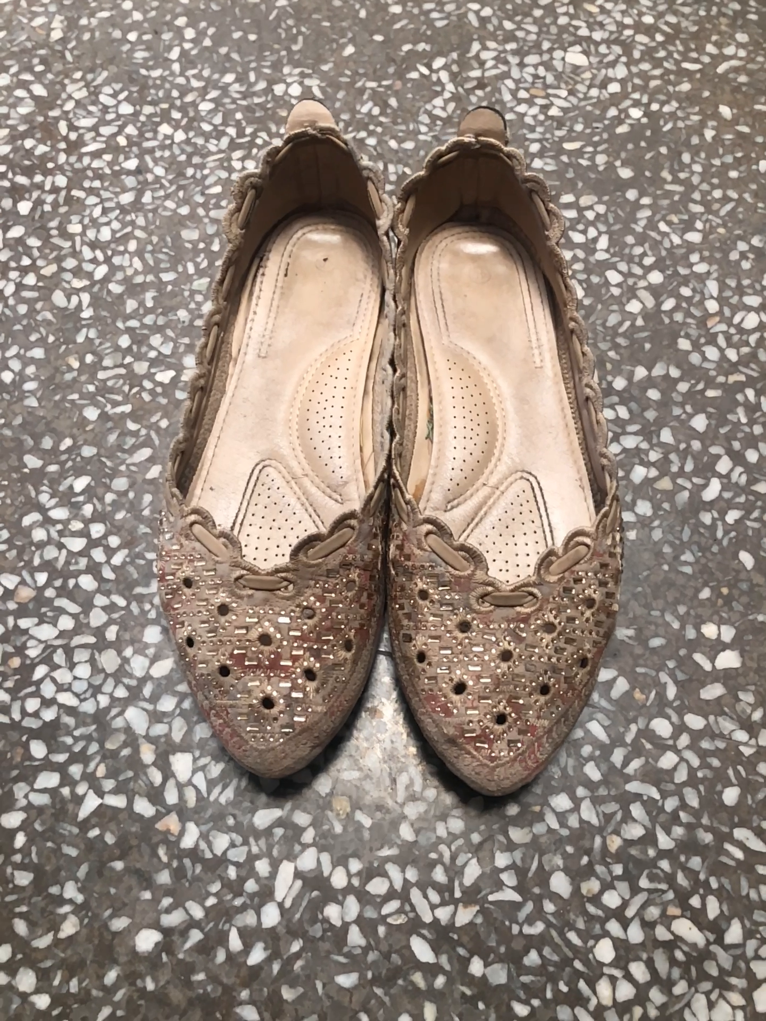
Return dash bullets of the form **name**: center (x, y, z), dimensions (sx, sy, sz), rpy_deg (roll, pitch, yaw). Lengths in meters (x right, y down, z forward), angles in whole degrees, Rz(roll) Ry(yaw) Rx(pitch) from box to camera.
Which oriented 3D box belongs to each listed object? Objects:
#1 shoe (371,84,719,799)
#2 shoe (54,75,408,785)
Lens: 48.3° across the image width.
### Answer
- **shoe**: center (0.042, -0.033, 0.309), dimensions (0.089, 0.068, 0.255), rpy_deg (-1, 67, -1)
- **shoe**: center (-0.040, -0.037, 0.313), dimensions (0.089, 0.068, 0.255), rpy_deg (2, 67, 0)
